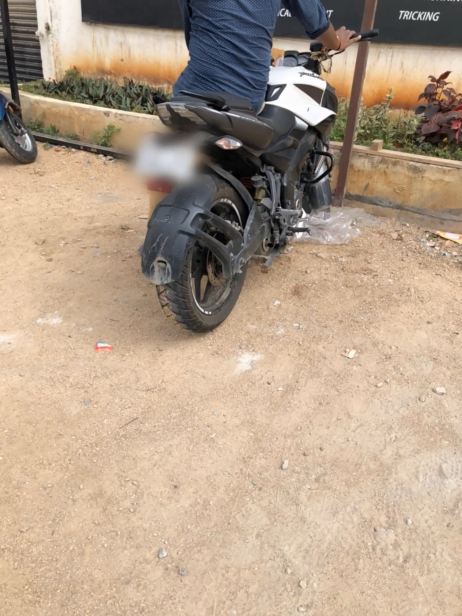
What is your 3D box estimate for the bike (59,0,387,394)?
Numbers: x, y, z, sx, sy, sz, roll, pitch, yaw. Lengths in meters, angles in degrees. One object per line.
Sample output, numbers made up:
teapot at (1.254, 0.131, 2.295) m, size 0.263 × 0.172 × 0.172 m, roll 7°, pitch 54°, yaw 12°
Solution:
bike at (0.141, -0.744, 2.331) m, size 0.778 × 1.122 × 1.862 m, roll 12°, pitch 32°, yaw 15°
